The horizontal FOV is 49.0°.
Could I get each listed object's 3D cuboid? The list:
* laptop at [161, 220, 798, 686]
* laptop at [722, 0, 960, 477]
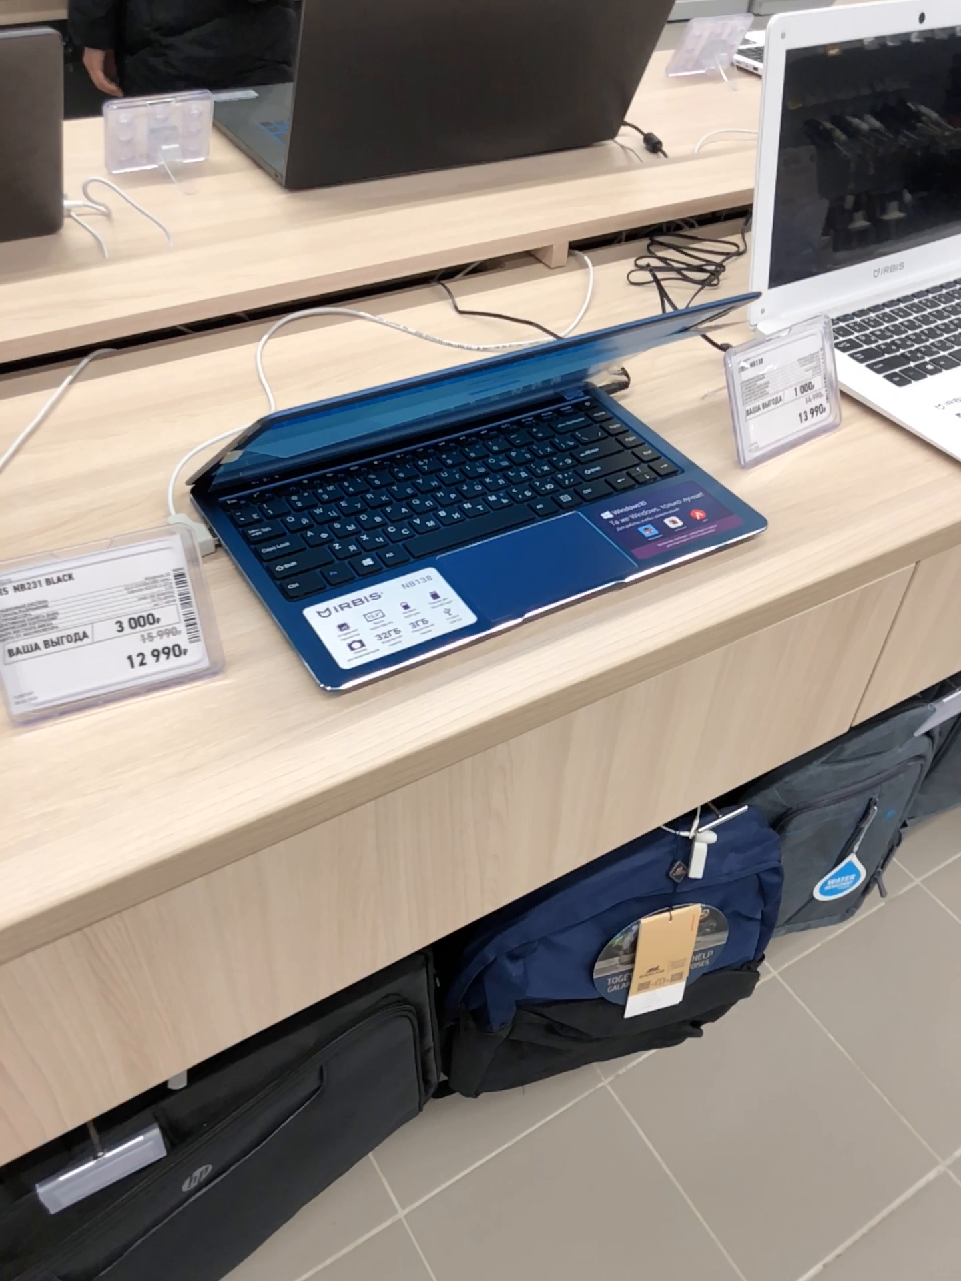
[{"bbox_3d":[-0.001,-0.130,0.638,0.309,0.124,0.189,-20,50,-24],"label":"laptop"},{"bbox_3d":[0.423,-0.354,0.838,0.340,0.212,0.303,-21,48,-23],"label":"laptop"}]
